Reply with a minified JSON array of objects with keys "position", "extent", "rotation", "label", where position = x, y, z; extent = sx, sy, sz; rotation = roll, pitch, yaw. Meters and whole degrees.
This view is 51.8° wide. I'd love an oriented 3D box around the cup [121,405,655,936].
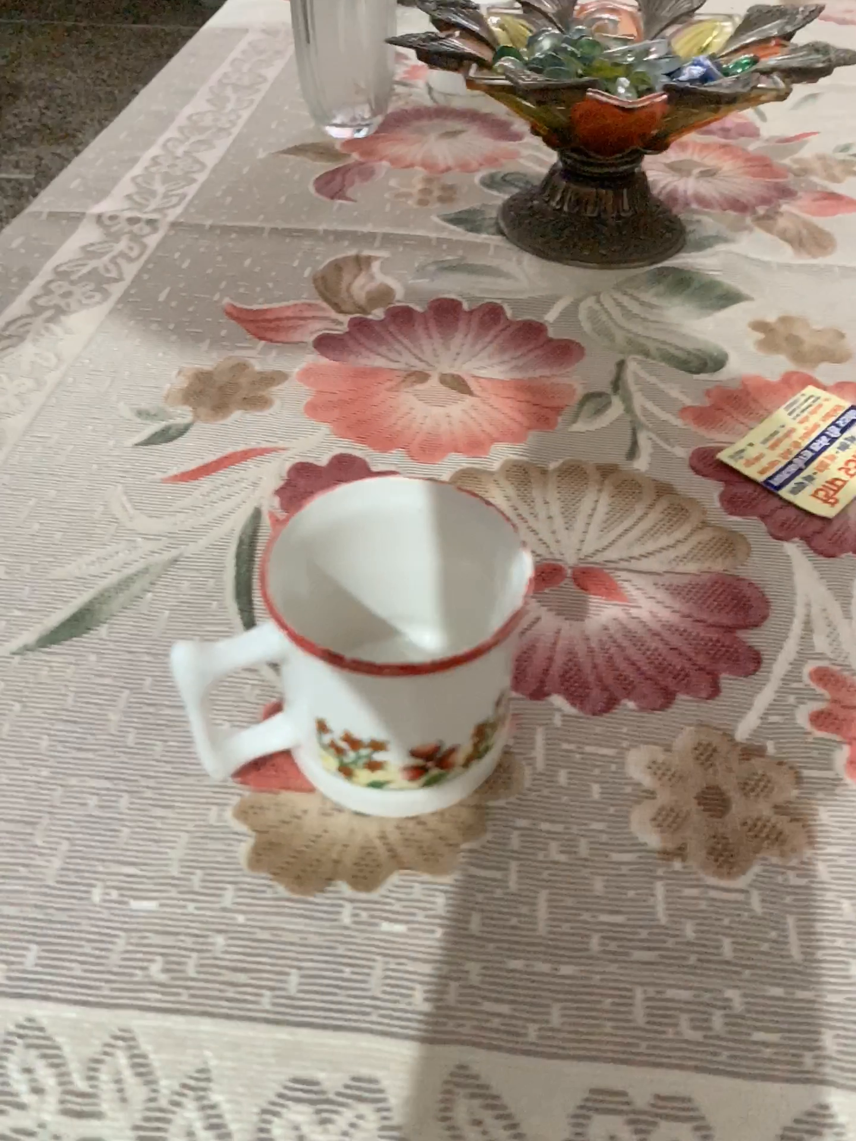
[{"position":[-0.010,0.022,0.229],"extent":[0.100,0.080,0.070],"rotation":[-23,50,-23],"label":"cup"}]
